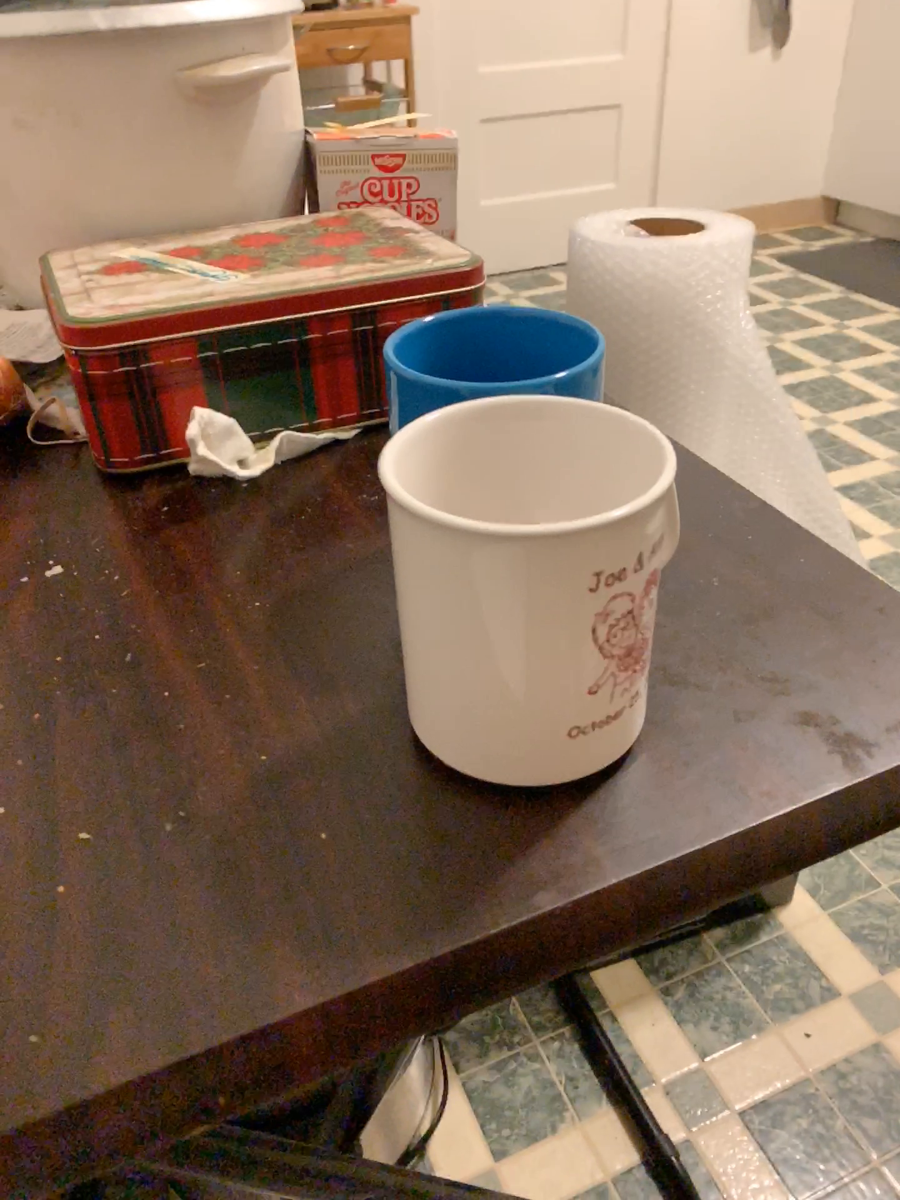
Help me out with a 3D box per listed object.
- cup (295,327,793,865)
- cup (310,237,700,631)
[{"bbox_3d":[0.035,-0.012,0.296,0.090,0.099,0.130,20,41,30],"label":"cup"},{"bbox_3d":[0.029,-0.077,0.382,0.090,0.099,0.140,19,41,28],"label":"cup"}]
